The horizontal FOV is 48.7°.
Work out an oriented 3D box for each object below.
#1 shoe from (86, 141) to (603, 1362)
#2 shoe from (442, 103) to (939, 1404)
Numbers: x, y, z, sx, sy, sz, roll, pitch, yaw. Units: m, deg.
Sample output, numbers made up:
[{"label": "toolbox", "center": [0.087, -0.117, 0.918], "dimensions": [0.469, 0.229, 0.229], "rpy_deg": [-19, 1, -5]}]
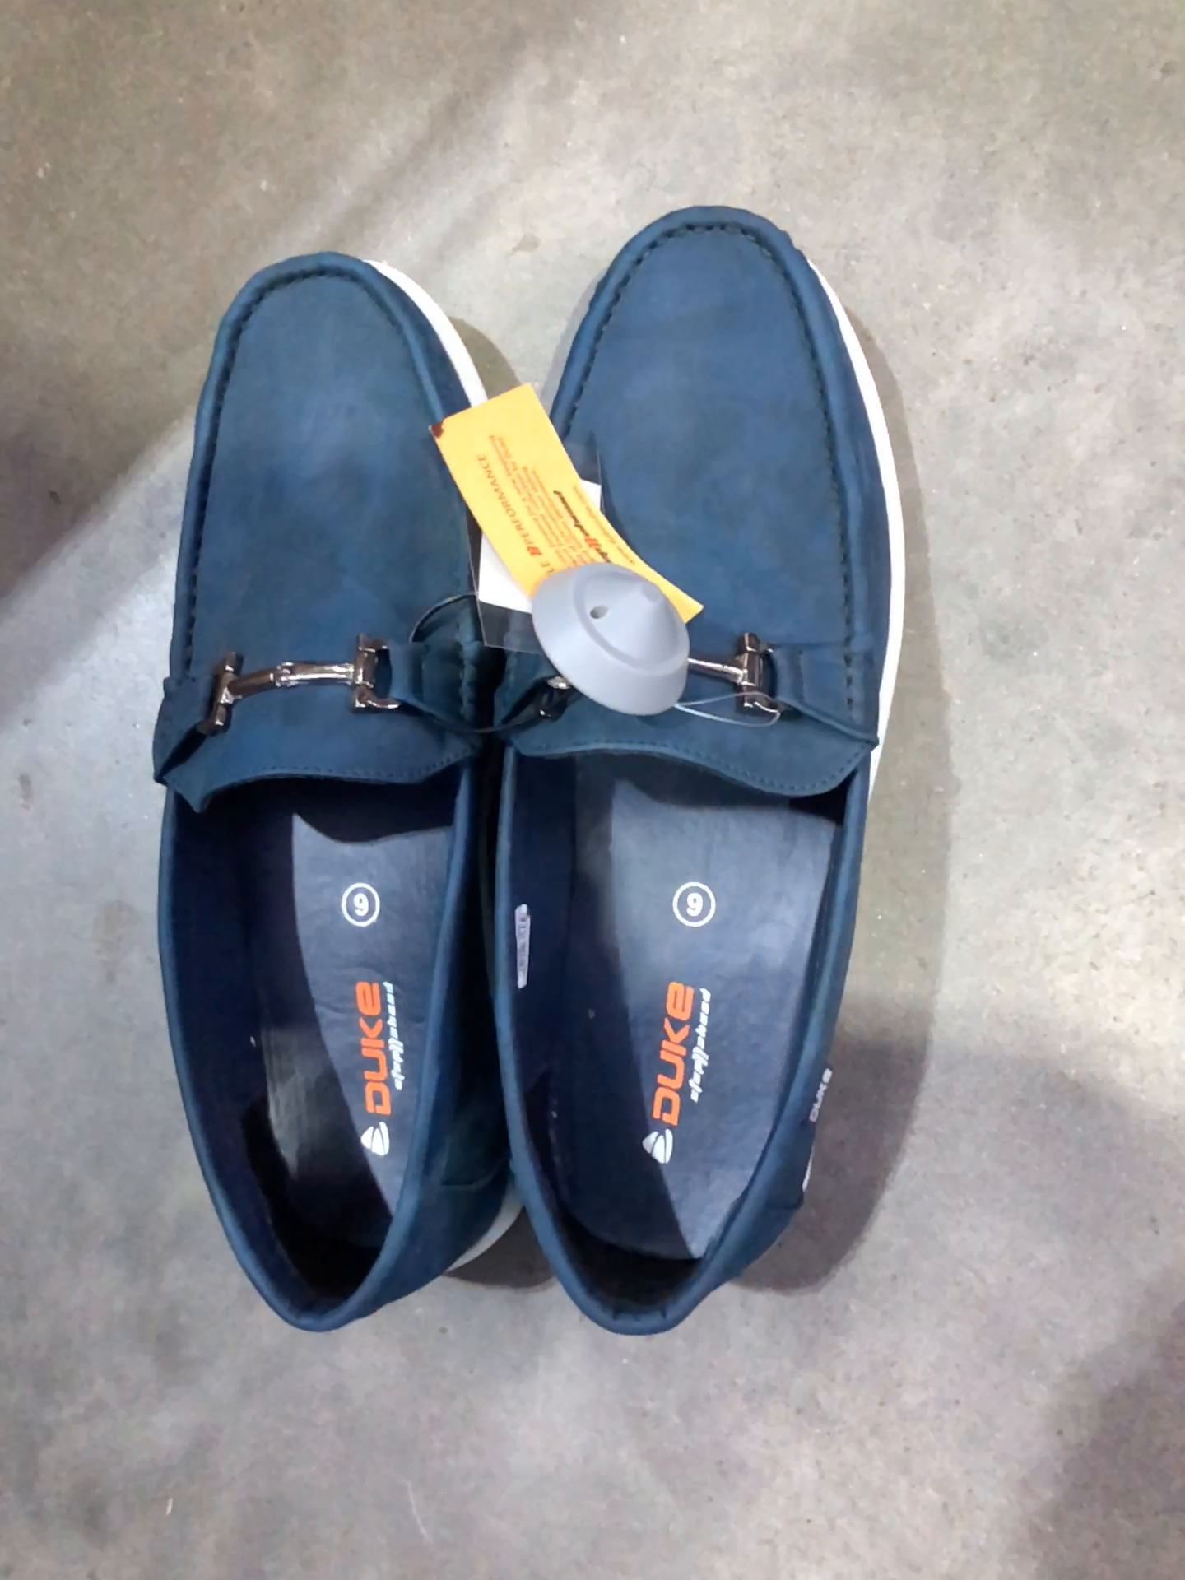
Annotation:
[{"label": "shoe", "center": [-0.067, -0.008, 0.381], "dimensions": [0.110, 0.080, 0.310], "rpy_deg": [-4, 89, 10]}, {"label": "shoe", "center": [0.029, -0.011, 0.361], "dimensions": [0.110, 0.080, 0.310], "rpy_deg": [2, 90, 10]}]
